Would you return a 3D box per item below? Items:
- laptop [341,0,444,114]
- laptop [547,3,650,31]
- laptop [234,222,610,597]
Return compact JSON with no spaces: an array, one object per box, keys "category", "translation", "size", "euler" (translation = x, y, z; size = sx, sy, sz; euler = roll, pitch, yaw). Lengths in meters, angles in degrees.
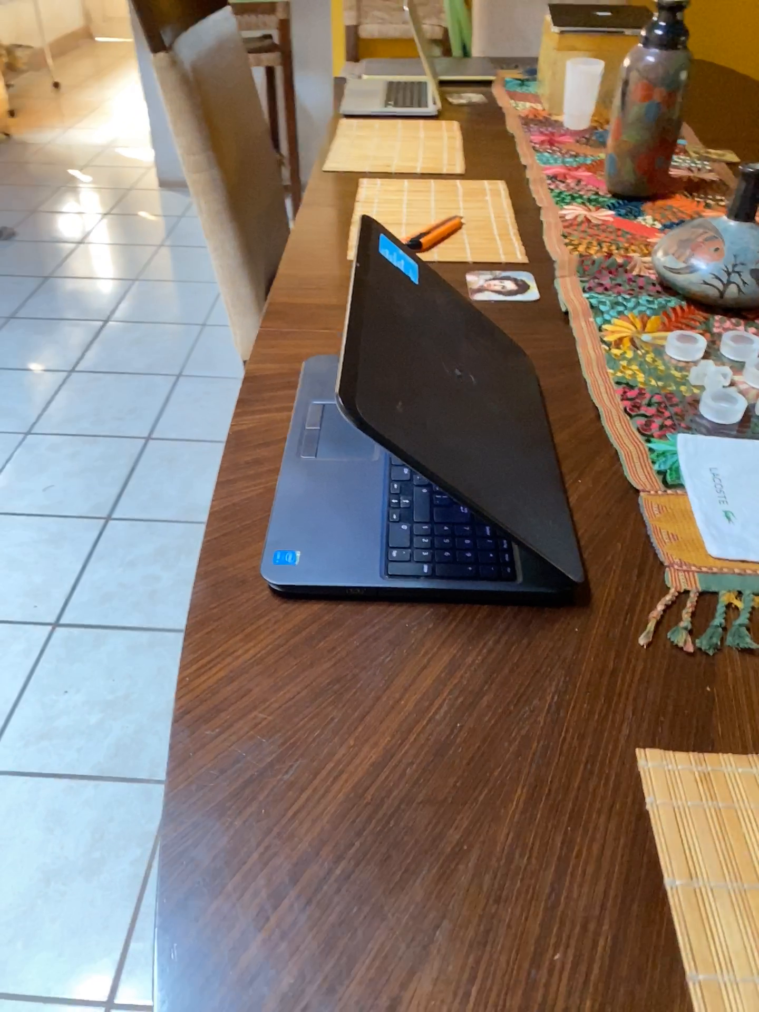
[{"category":"laptop","translation":[0.031,-1.104,1.870],"size":[0.221,0.207,0.373],"euler":[0,39,0]},{"category":"laptop","translation":[0.486,-1.102,1.745],"size":[0.201,0.001,0.294],"euler":[4,41,2]},{"category":"laptop","translation":[0.030,-0.109,0.701],"size":[0.248,0.158,0.358],"euler":[2,39,1]}]
